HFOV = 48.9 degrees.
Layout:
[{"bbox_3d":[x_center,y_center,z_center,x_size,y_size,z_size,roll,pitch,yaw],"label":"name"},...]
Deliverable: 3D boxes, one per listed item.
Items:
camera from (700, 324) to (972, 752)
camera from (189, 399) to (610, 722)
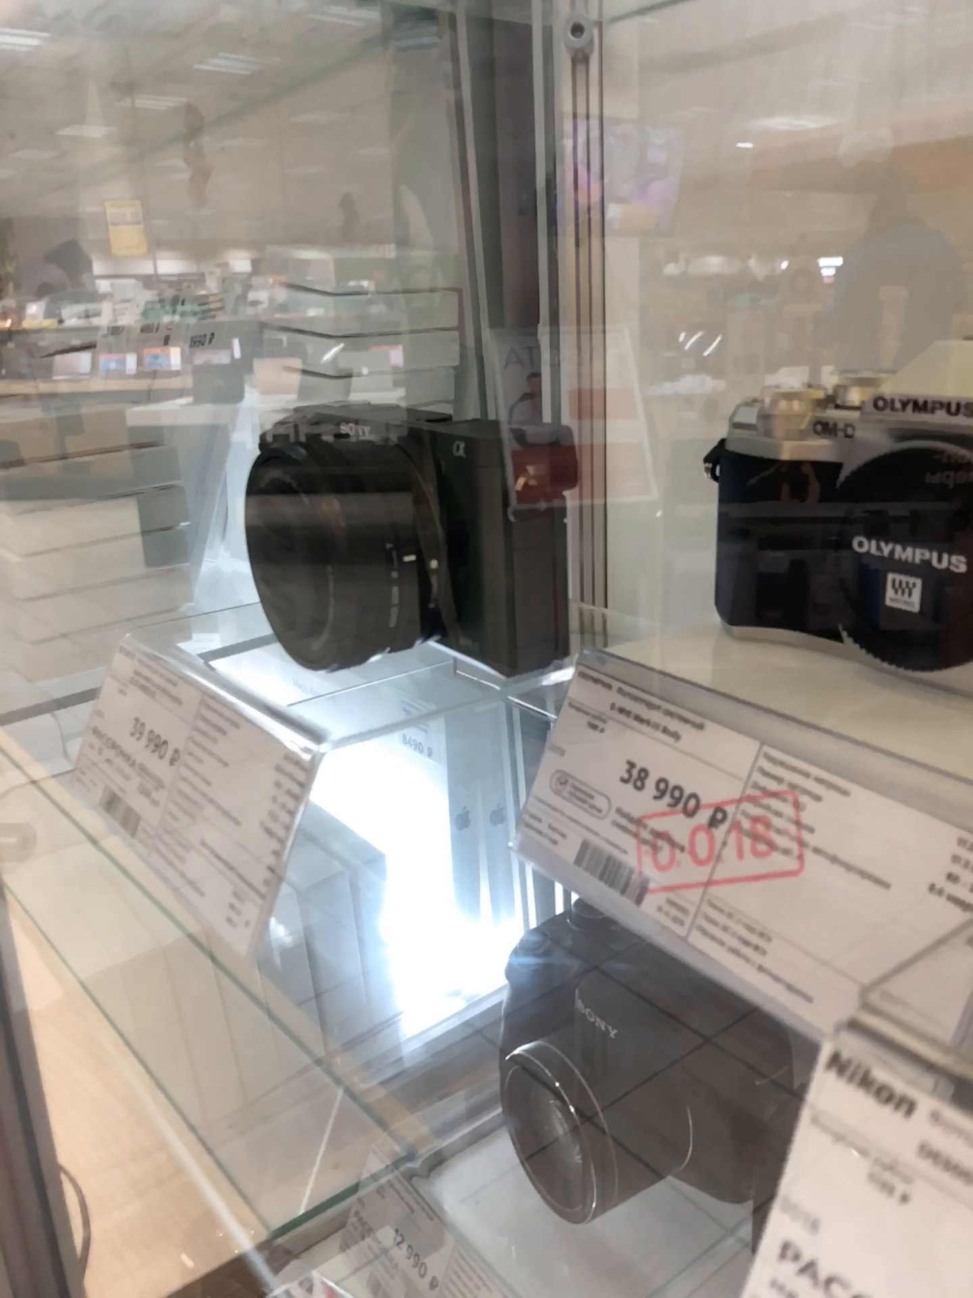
[{"bbox_3d":[0.132,-0.040,0.283,0.087,0.081,0.123,-15,20,-33],"label":"camera"},{"bbox_3d":[-0.031,-0.036,0.328,0.066,0.070,0.130,-15,21,-33],"label":"camera"}]
